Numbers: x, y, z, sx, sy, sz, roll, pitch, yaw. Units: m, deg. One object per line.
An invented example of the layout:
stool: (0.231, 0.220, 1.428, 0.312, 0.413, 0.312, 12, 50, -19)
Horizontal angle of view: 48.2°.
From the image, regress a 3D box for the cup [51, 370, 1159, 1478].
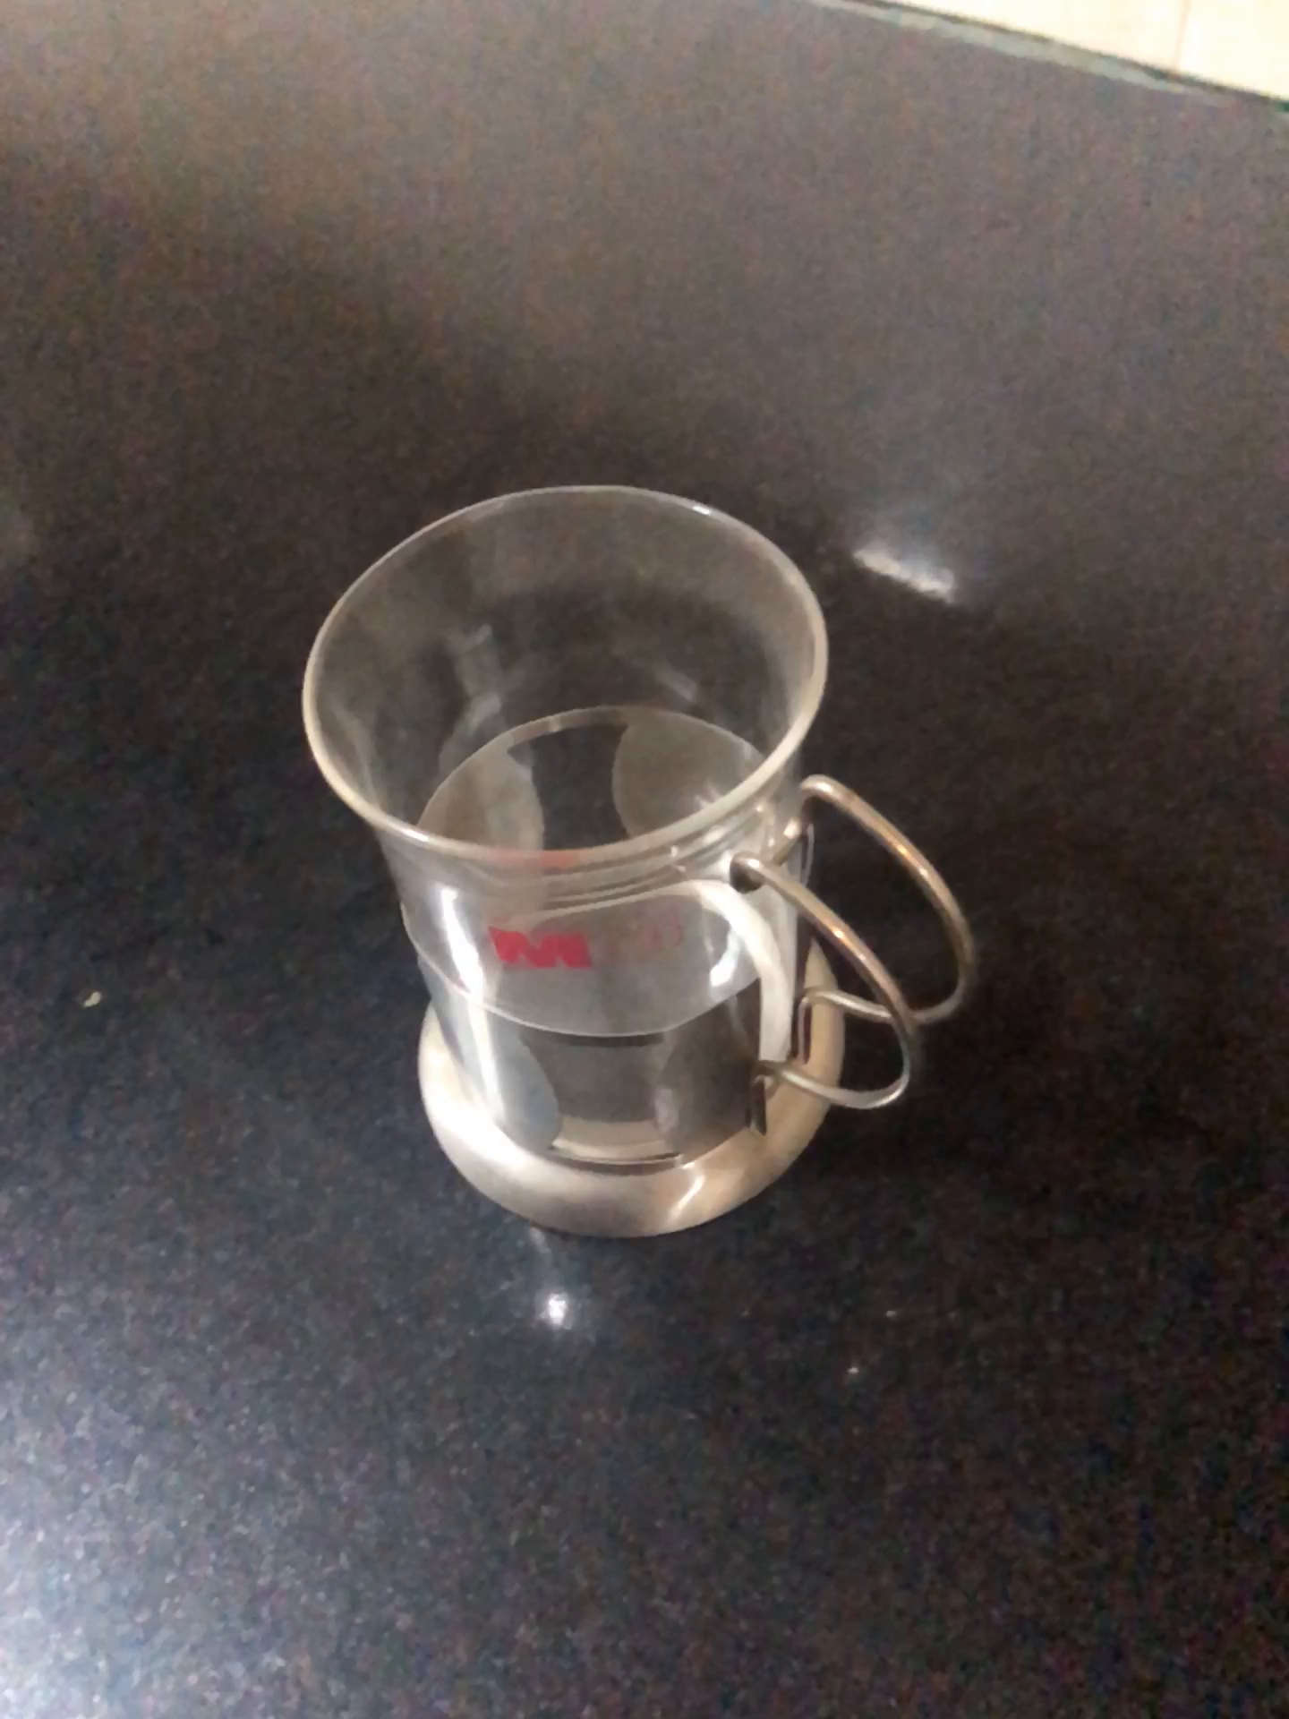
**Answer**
cup: (-0.003, 0.011, 0.219, 0.110, 0.109, 0.080, 30, 62, 25)
